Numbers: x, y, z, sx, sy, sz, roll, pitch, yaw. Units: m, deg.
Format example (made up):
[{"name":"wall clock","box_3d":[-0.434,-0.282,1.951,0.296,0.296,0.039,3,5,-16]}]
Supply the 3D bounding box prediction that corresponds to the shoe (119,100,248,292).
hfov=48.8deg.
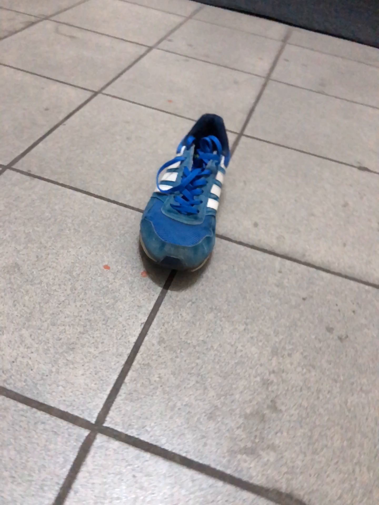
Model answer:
[{"name":"shoe","box_3d":[0.002,-0.098,0.592,0.110,0.099,0.294,14,44,3]}]
